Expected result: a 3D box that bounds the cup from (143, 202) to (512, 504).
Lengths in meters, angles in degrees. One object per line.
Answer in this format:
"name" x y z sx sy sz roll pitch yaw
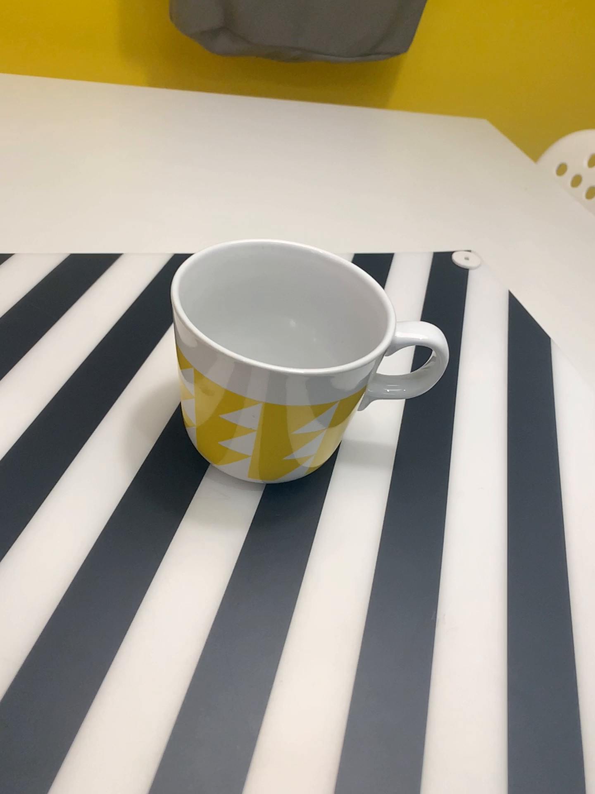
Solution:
"cup" 0.005 -0.016 0.229 0.110 0.070 0.070 7 43 -6
